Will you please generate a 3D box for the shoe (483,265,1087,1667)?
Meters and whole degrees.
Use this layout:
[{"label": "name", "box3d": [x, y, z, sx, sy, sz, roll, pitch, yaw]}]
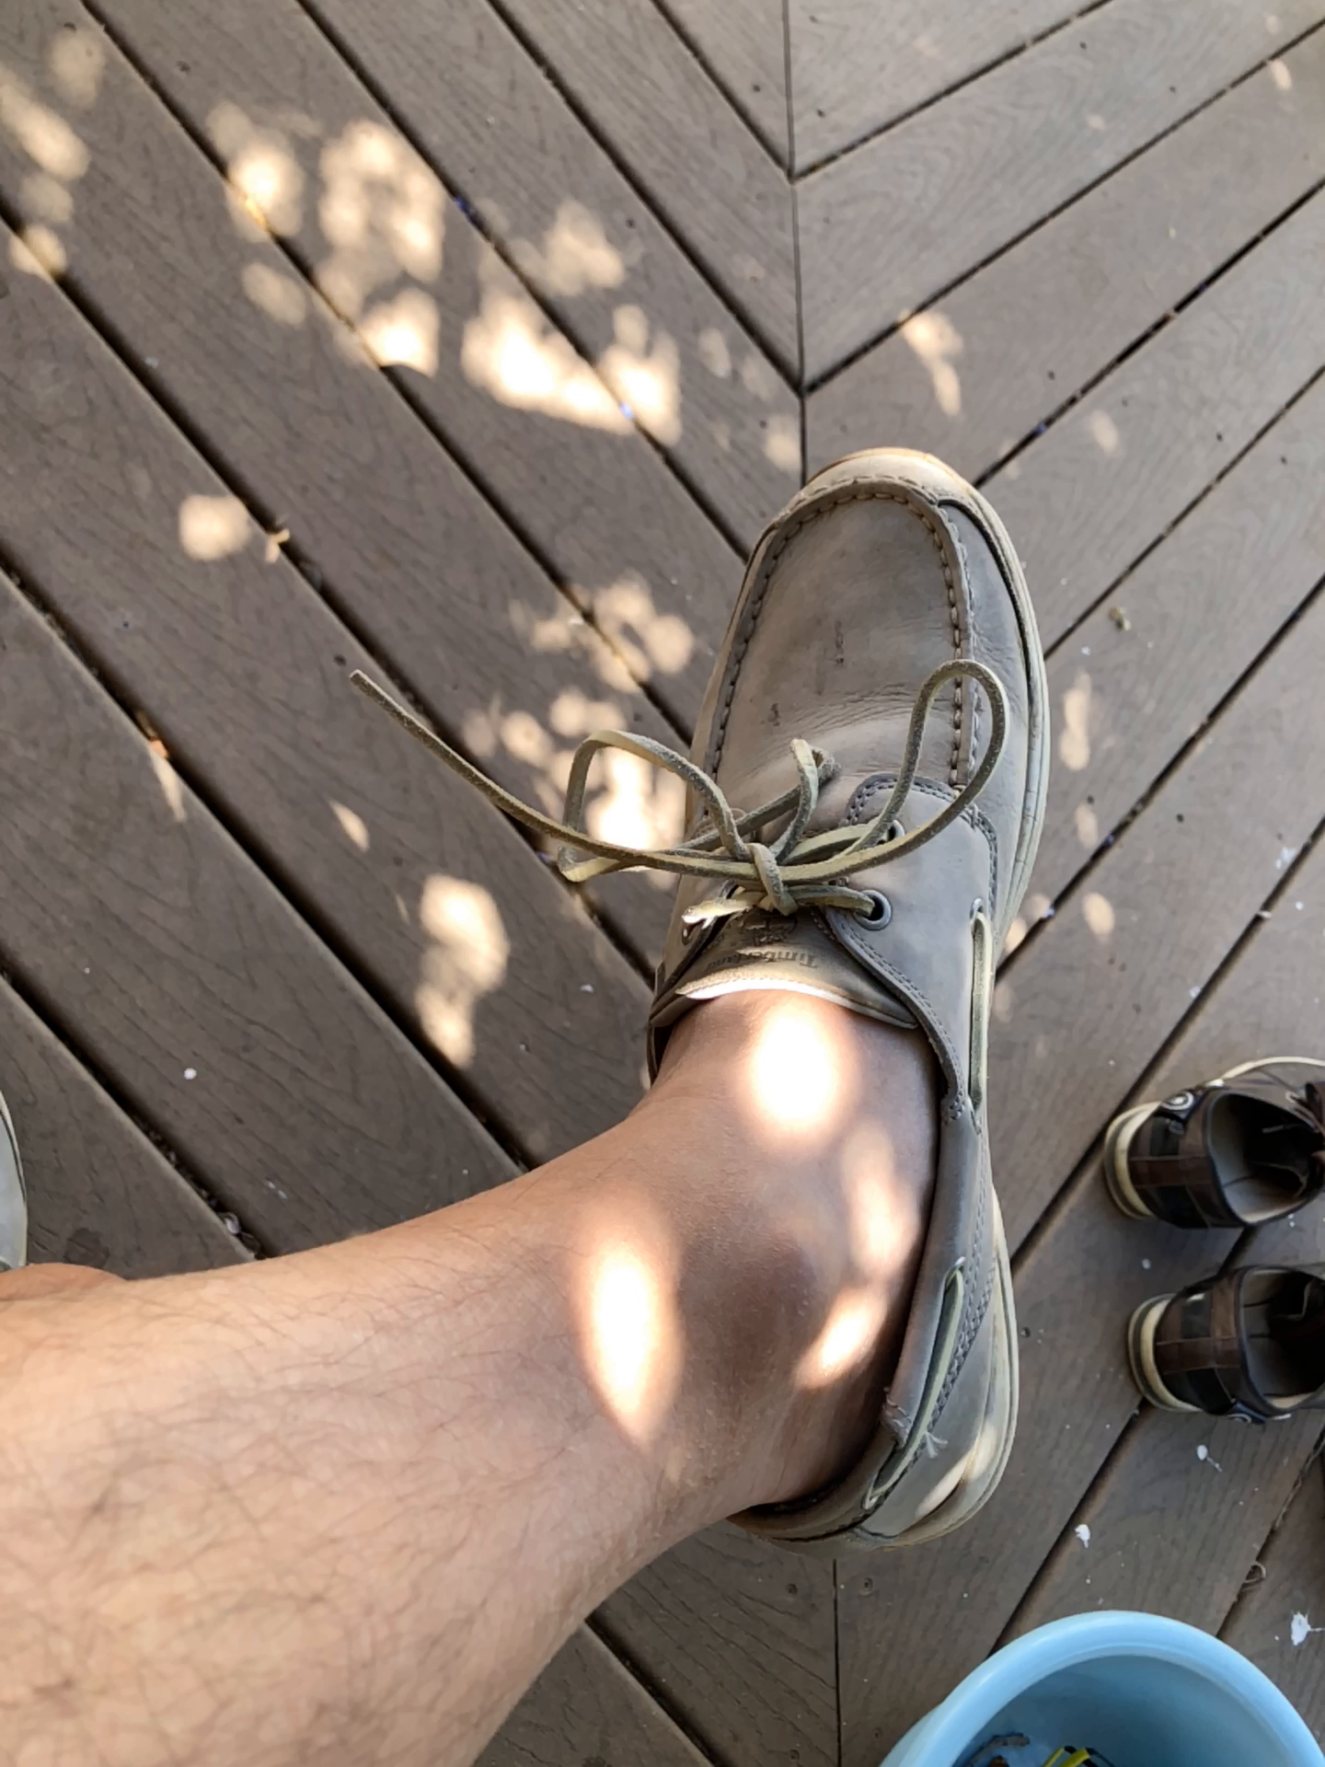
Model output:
[{"label": "shoe", "box3d": [0.043, 0.015, 0.378, 0.106, 0.113, 0.303, 36, 55, -63]}]
